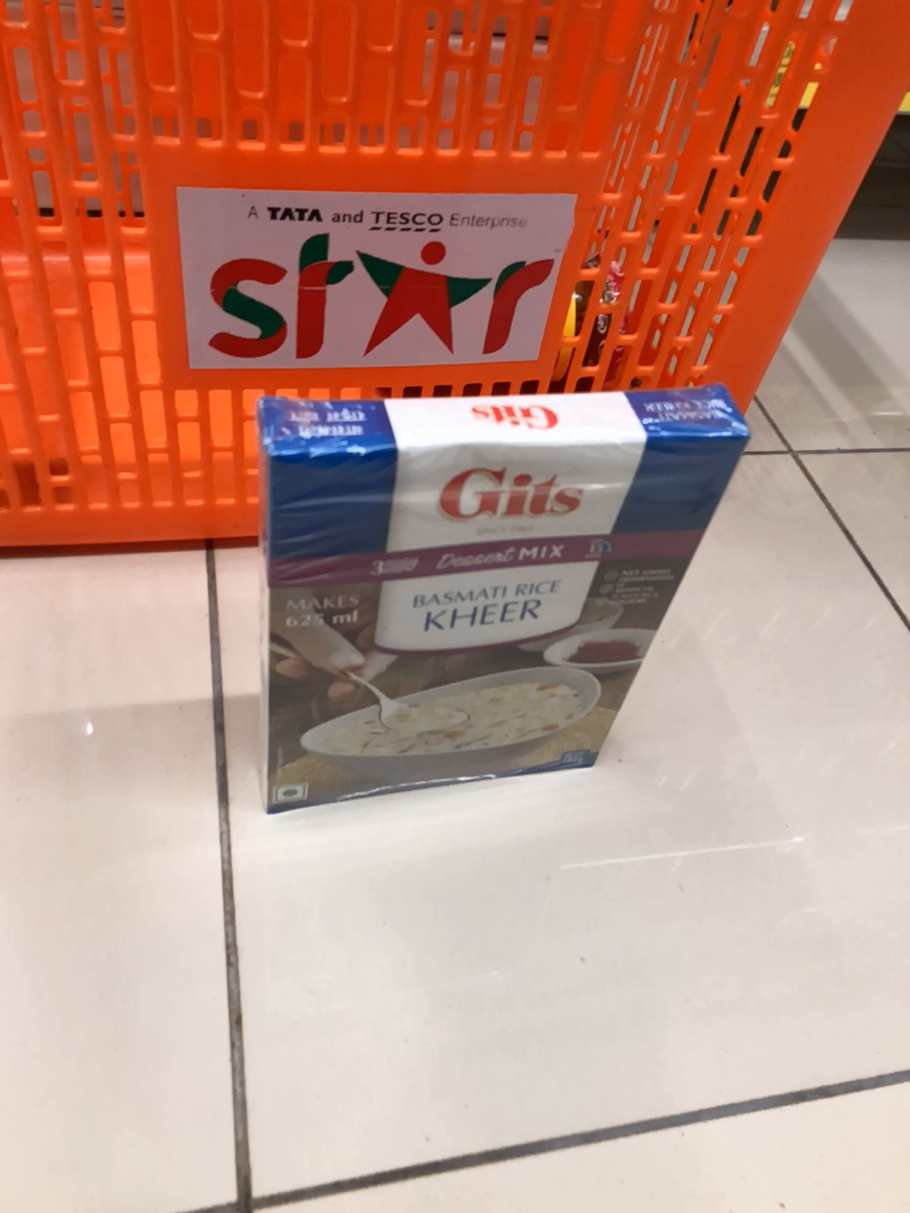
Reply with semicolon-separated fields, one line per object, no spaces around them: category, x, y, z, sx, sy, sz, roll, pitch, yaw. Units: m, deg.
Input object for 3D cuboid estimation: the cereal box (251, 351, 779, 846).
cereal box;0.005;0.005;0.288;0.120;0.159;0.030;-5;47;-15
